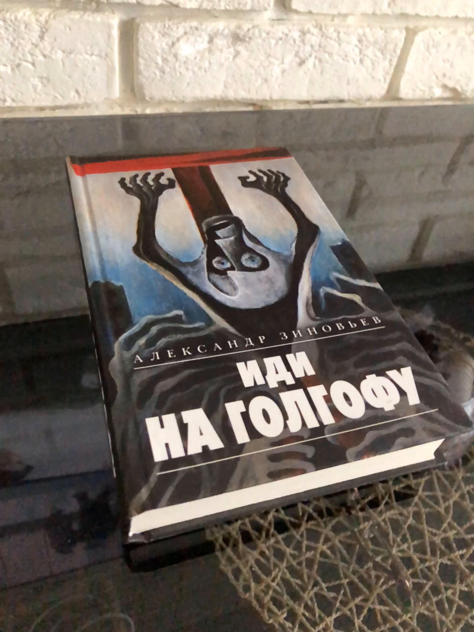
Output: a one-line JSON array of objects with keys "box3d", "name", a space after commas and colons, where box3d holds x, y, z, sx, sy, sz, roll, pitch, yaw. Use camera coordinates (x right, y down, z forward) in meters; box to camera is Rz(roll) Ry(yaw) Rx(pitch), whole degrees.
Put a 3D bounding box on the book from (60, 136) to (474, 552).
[{"box3d": [0.000, -0.016, 0.240, 0.140, 0.030, 0.201, -7, 48, -16], "name": "book"}]
